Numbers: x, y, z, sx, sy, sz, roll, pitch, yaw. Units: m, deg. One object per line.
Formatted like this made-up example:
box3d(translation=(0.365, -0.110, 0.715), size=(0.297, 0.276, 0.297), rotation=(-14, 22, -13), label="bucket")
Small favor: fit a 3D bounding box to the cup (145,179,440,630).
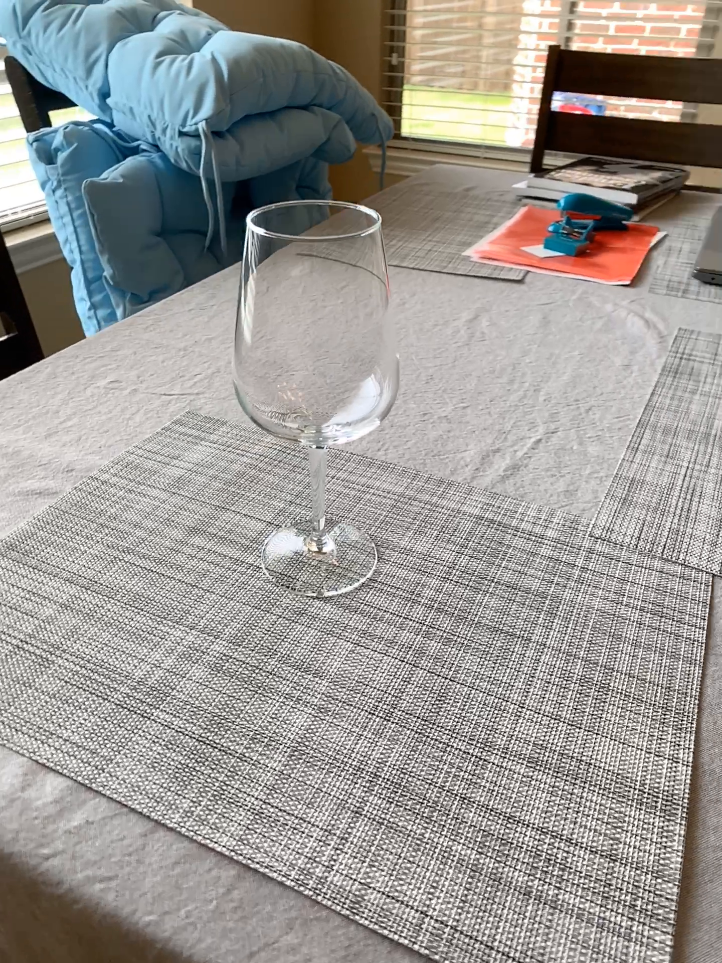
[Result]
box3d(translation=(-0.034, -0.043, 0.424), size=(0.107, 0.214, 0.100), rotation=(1, 34, -1), label="cup")
